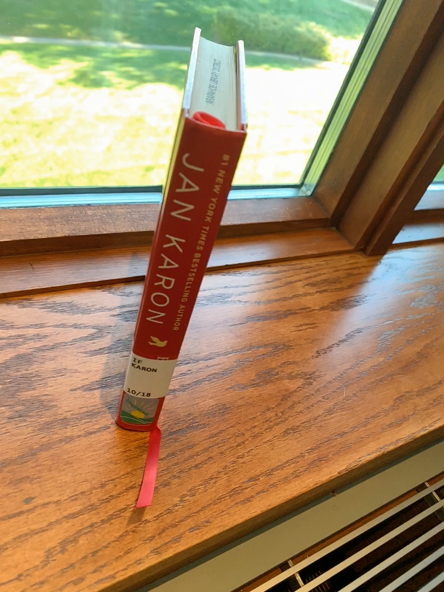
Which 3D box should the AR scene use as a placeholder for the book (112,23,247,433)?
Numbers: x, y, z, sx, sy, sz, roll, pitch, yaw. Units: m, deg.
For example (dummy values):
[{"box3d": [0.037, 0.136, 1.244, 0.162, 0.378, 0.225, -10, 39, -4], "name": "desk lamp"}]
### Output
[{"box3d": [-0.025, -0.034, 0.246, 0.028, 0.169, 0.135, 11, 41, -8], "name": "book"}]
